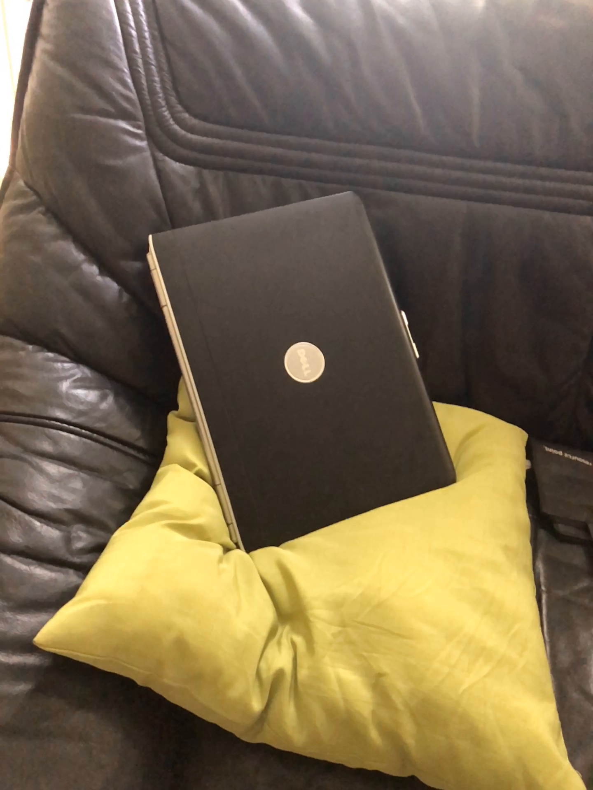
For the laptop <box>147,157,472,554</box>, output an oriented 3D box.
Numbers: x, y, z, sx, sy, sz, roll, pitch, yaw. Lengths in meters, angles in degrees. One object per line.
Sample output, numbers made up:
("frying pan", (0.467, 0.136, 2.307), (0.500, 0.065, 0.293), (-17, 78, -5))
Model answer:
("laptop", (0.013, -0.052, 0.689), (0.247, 0.033, 0.345), (-16, 83, -13))
